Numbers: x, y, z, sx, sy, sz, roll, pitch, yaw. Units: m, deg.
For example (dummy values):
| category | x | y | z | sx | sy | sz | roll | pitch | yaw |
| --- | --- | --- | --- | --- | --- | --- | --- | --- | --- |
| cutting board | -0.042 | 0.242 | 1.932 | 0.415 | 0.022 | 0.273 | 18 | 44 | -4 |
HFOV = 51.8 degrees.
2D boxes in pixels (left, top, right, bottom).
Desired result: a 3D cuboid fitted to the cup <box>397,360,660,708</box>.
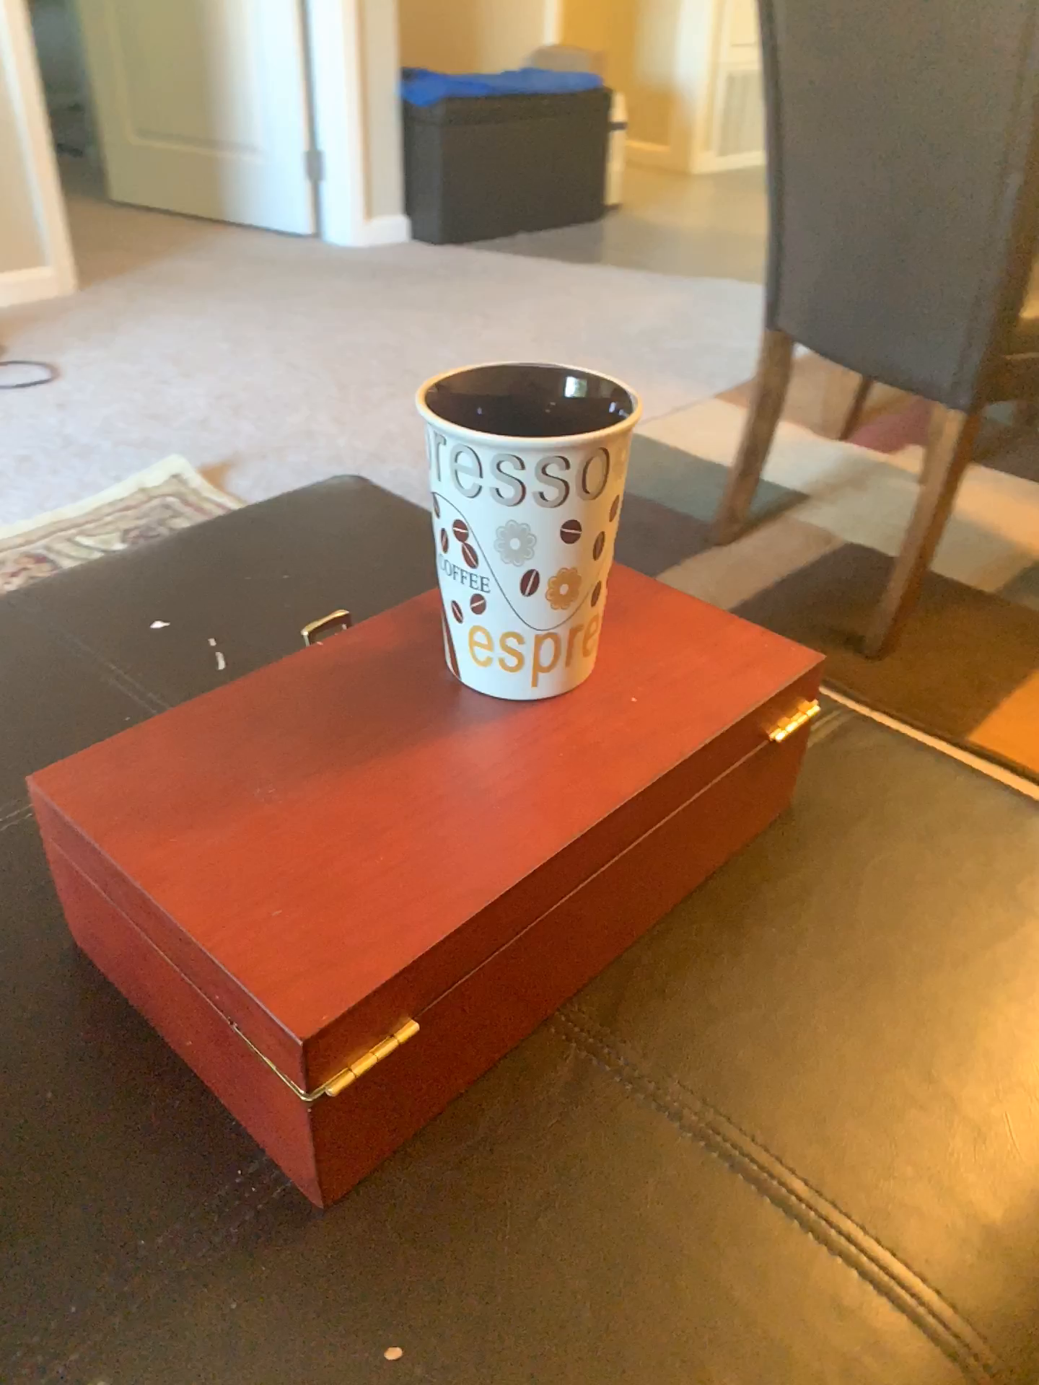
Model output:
| category | x | y | z | sx | sy | sz | roll | pitch | yaw |
| --- | --- | --- | --- | --- | --- | --- | --- | --- | --- |
| cup | -0.001 | -0.066 | 0.434 | 0.090 | 0.109 | 0.091 | 1 | 35 | -1 |
